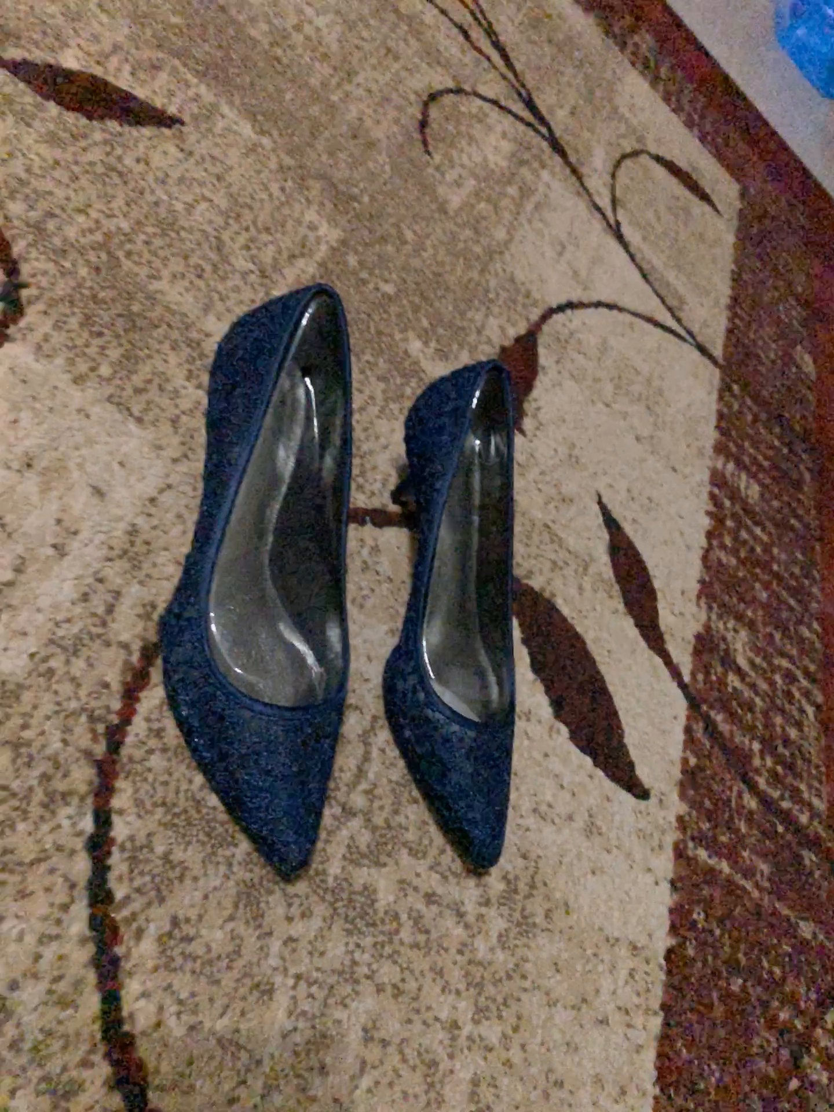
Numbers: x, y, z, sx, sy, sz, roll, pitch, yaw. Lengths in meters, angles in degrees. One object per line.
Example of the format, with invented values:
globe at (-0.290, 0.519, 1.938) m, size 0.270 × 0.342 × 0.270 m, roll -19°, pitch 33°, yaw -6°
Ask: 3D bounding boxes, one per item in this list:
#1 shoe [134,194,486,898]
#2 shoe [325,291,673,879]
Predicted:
shoe at (-0.061, -0.010, 0.395) m, size 0.088 × 0.088 × 0.293 m, roll 7°, pitch 62°, yaw -38°
shoe at (0.032, 0.011, 0.459) m, size 0.088 × 0.088 × 0.284 m, roll 7°, pitch 62°, yaw -38°
